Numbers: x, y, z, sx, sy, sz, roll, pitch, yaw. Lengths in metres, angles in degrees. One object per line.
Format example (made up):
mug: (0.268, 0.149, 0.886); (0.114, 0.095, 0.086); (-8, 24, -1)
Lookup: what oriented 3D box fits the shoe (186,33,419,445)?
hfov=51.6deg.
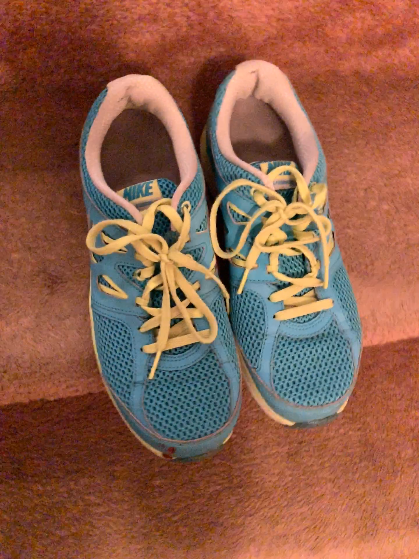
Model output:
shoe: (0.062, -0.037, 0.322); (0.110, 0.099, 0.281); (-7, 68, -9)

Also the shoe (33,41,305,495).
shoe: (-0.042, -0.020, 0.304); (0.110, 0.099, 0.281); (-10, 69, -10)
